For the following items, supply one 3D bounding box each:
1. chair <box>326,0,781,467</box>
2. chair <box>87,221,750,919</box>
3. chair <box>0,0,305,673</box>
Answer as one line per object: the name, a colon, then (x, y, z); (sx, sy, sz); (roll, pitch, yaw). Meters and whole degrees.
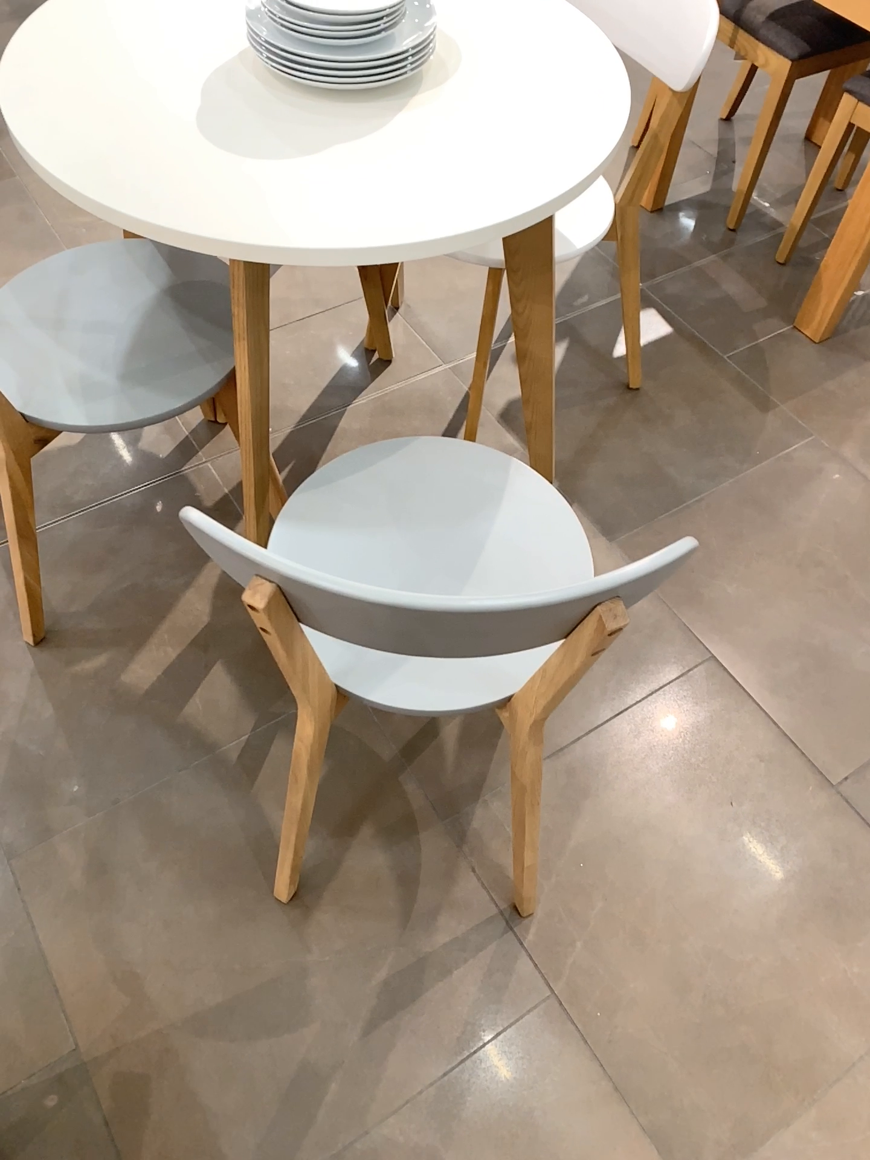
chair: (0.163, -0.762, 1.760); (0.541, 0.800, 0.522); (-24, 60, -19)
chair: (-0.023, 0.057, 1.172); (0.519, 0.800, 0.534); (3, 55, -1)
chair: (-0.601, -0.362, 1.452); (0.541, 0.800, 0.522); (-25, 60, -20)
